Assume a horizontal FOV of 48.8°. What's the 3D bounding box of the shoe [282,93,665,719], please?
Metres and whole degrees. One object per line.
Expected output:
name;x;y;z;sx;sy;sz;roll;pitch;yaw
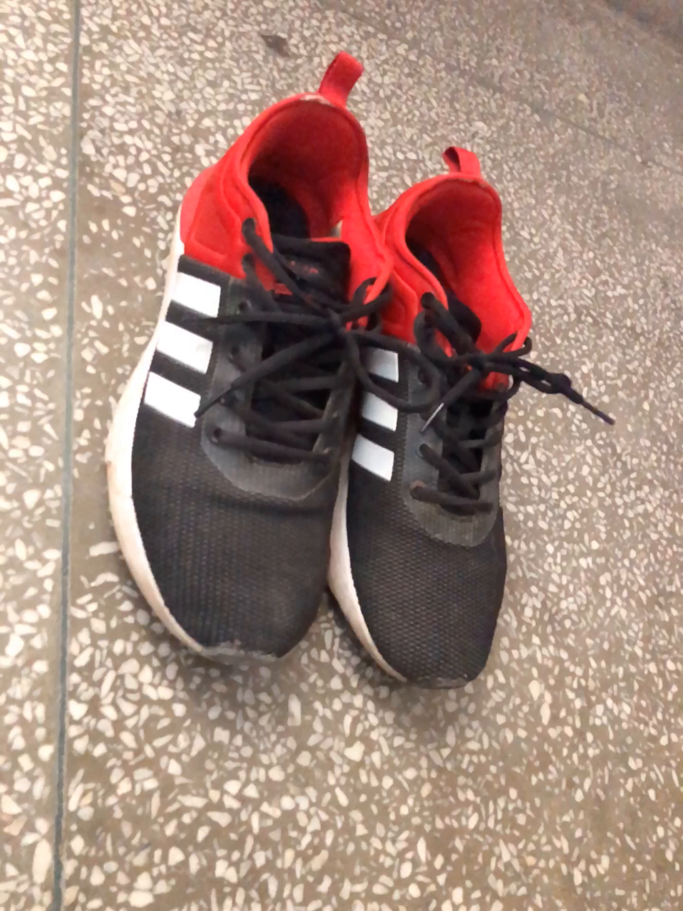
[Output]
shoe;0.058;-0.024;0.446;0.130;0.140;0.320;14;61;-28

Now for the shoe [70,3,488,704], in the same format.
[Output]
shoe;-0.033;-0.046;0.392;0.130;0.140;0.310;15;60;-27
